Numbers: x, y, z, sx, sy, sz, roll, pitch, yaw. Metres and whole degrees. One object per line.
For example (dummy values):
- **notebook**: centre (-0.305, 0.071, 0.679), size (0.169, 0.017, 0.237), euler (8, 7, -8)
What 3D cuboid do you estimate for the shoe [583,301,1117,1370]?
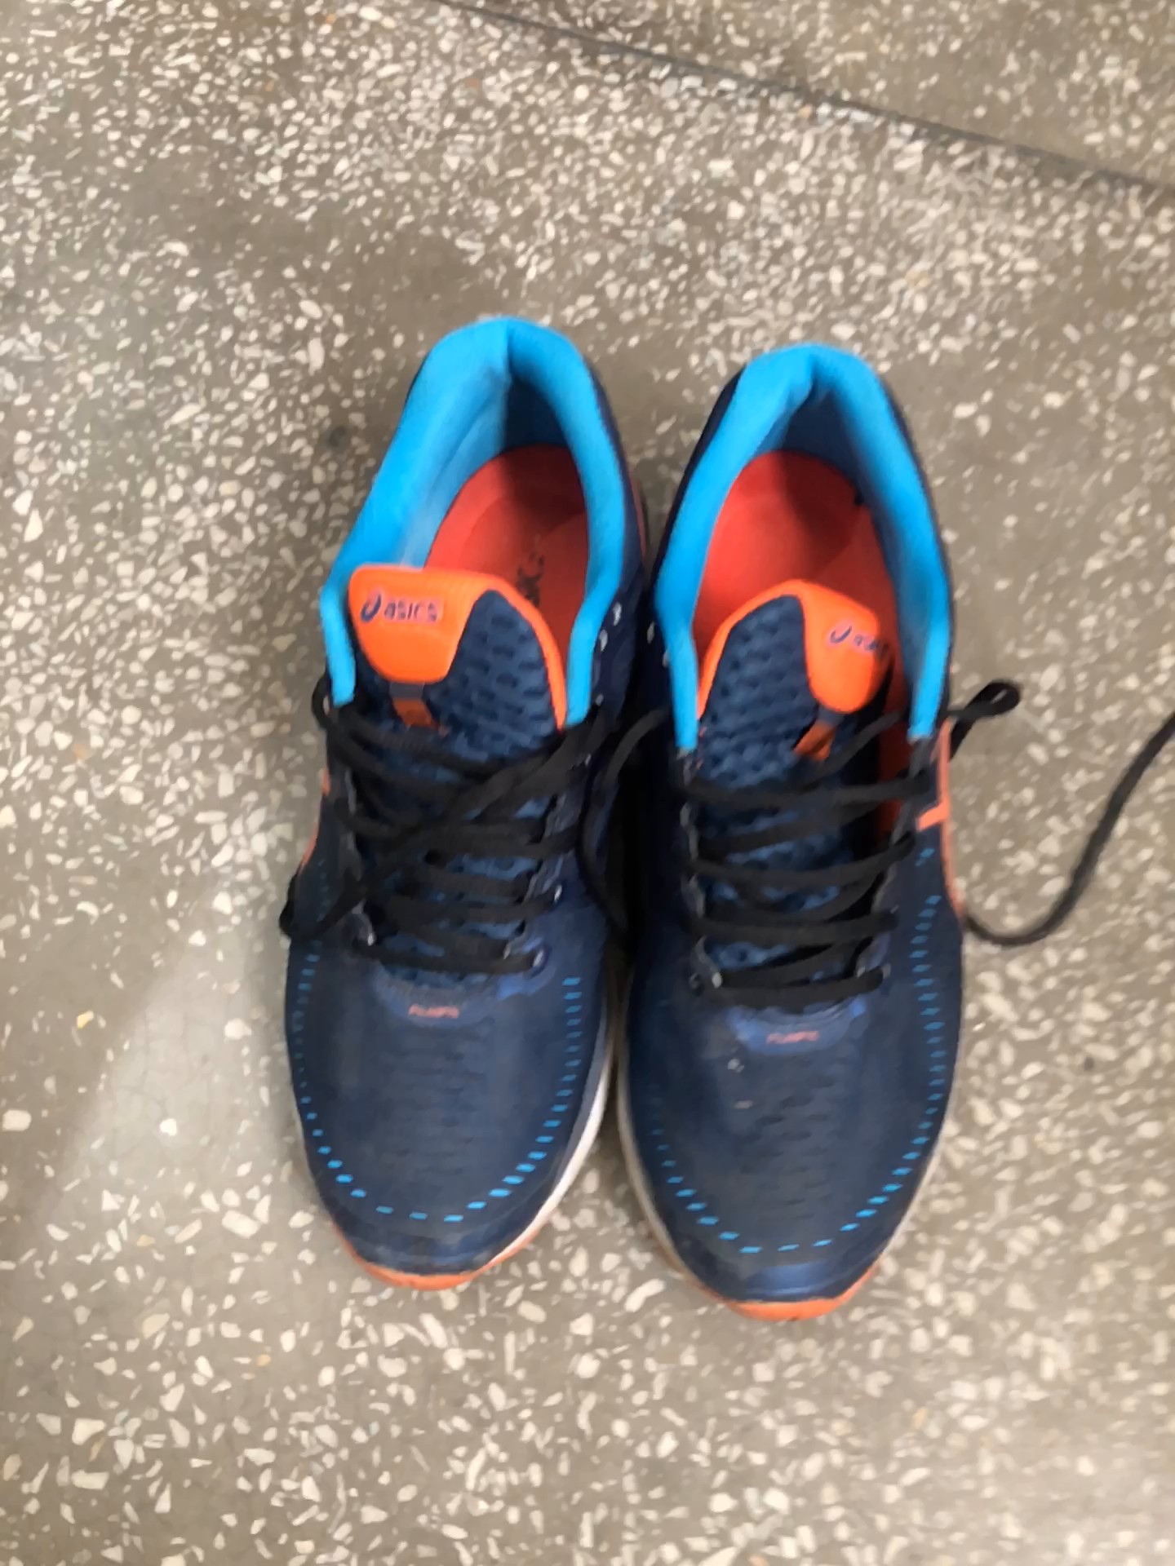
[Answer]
- **shoe**: centre (0.062, 0.010, 0.386), size (0.118, 0.100, 0.288), euler (2, 69, 1)

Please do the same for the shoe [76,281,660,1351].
- **shoe**: centre (-0.046, 0.005, 0.388), size (0.118, 0.100, 0.288), euler (3, 69, 1)
